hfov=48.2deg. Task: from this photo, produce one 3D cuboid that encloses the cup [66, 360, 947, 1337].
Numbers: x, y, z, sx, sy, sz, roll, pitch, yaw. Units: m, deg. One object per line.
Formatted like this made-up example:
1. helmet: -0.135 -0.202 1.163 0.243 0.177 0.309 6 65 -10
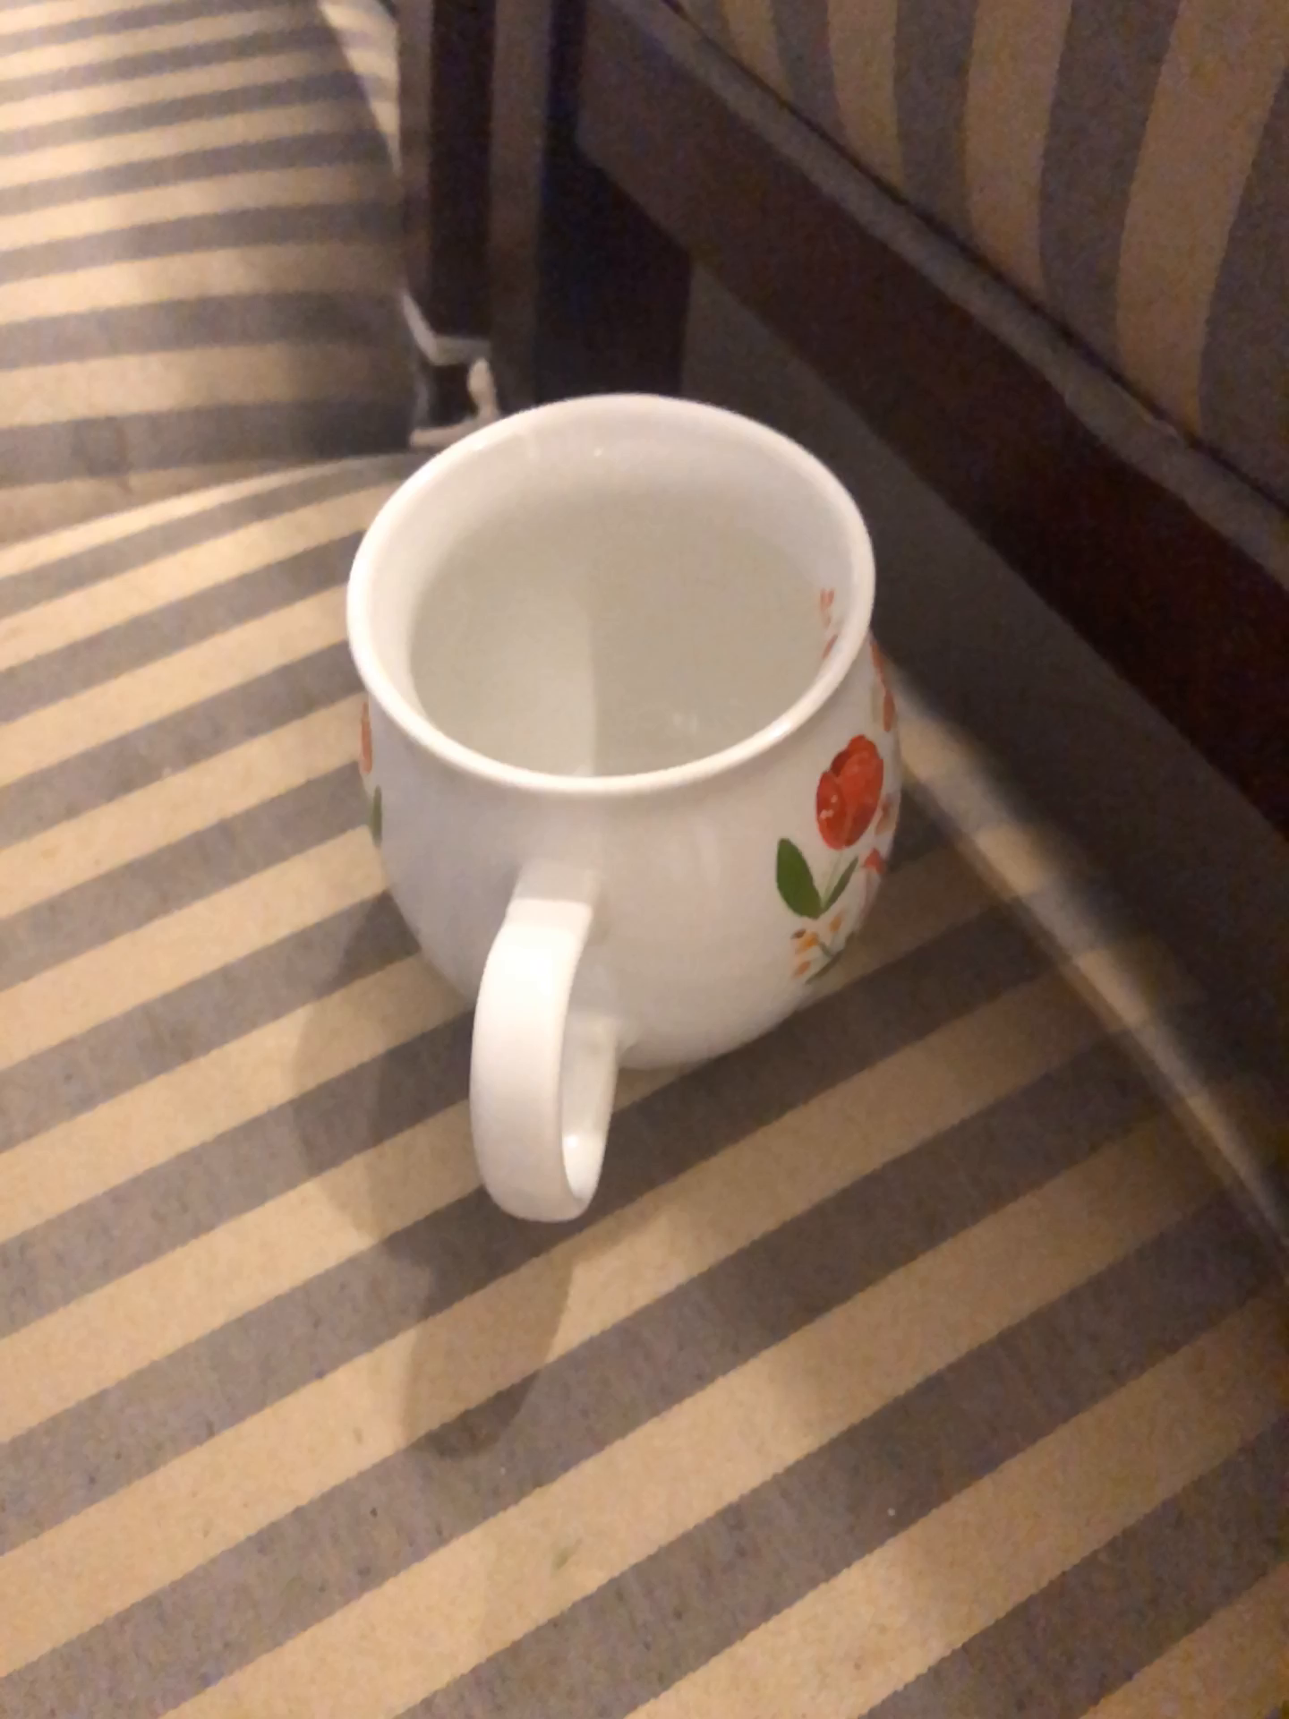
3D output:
1. cup: -0.011 -0.005 0.266 0.110 0.090 0.141 8 55 7
